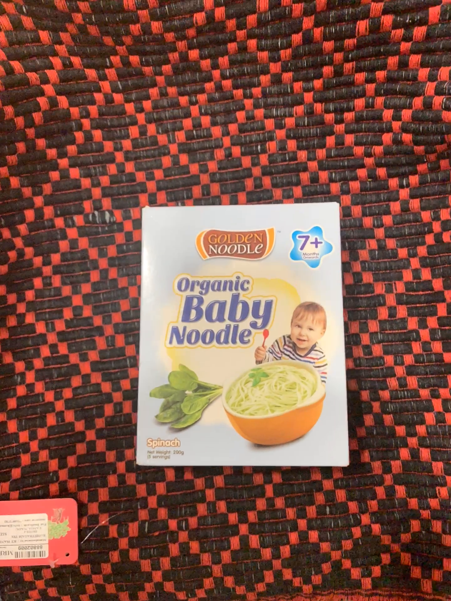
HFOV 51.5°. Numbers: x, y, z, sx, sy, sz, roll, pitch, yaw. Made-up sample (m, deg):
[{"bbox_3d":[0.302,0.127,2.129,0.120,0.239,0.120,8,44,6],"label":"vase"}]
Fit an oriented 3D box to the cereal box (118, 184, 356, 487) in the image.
[{"bbox_3d":[0.005,0.020,0.291,0.130,0.050,0.170,-1,83,2],"label":"cereal box"}]
